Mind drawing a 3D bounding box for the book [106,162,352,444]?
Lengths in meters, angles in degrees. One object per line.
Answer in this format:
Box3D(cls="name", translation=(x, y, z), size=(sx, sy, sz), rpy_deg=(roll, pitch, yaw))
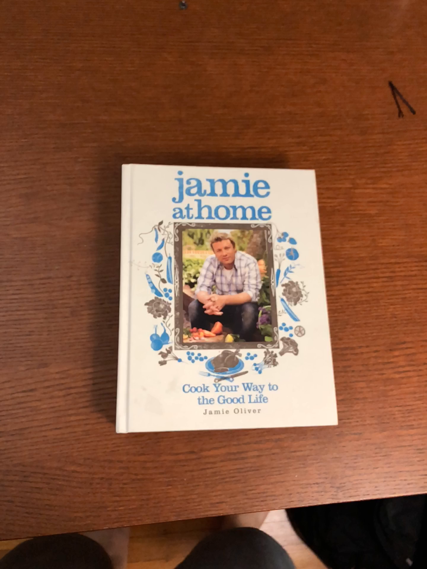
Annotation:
Box3D(cls="book", translation=(0.011, 0.012, 0.456), size=(0.210, 0.040, 0.260), rpy_deg=(0, 74, -6))
